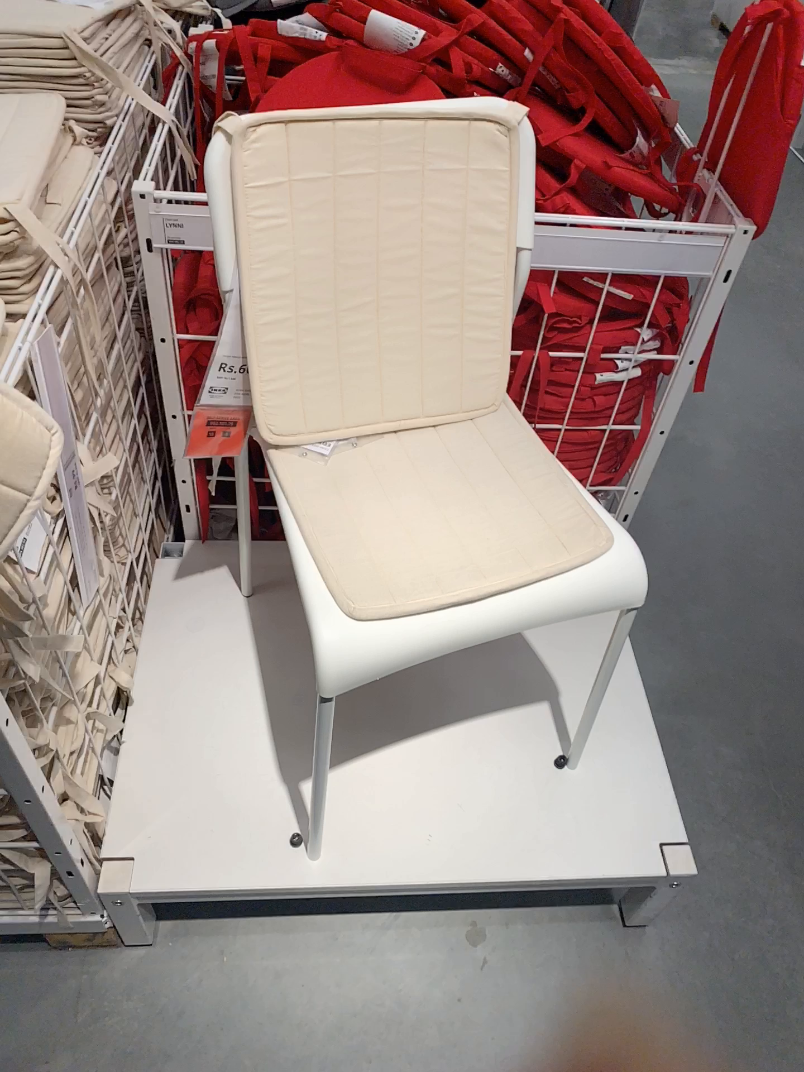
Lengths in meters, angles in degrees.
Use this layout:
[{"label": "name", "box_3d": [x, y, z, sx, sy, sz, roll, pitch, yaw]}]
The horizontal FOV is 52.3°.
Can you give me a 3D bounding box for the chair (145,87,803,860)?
[{"label": "chair", "box_3d": [0.012, -0.054, 0.966, 0.430, 0.698, 0.481, -14, 50, -18]}]
